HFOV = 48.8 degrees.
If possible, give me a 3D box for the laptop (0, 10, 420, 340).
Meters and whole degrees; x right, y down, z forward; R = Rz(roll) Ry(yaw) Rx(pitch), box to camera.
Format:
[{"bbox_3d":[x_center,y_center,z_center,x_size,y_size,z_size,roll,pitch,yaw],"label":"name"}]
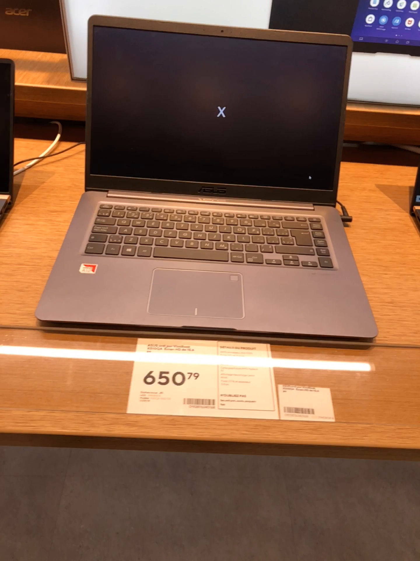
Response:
[{"bbox_3d":[0.007,-0.151,0.551,0.352,0.177,0.392,3,44,-3],"label":"laptop"}]
